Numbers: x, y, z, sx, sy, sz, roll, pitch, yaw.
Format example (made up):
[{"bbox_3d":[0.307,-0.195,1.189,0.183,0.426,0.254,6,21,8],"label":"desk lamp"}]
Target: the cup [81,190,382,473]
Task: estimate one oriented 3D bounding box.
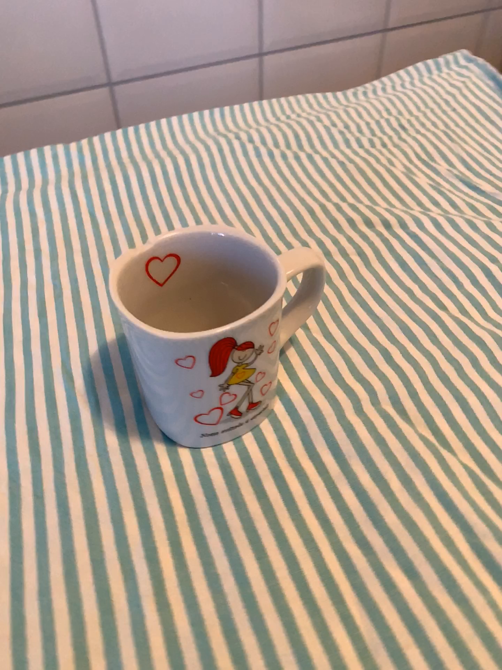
[{"bbox_3d":[-0.009,-0.005,0.252,0.110,0.080,0.070,-20,48,-18],"label":"cup"}]
